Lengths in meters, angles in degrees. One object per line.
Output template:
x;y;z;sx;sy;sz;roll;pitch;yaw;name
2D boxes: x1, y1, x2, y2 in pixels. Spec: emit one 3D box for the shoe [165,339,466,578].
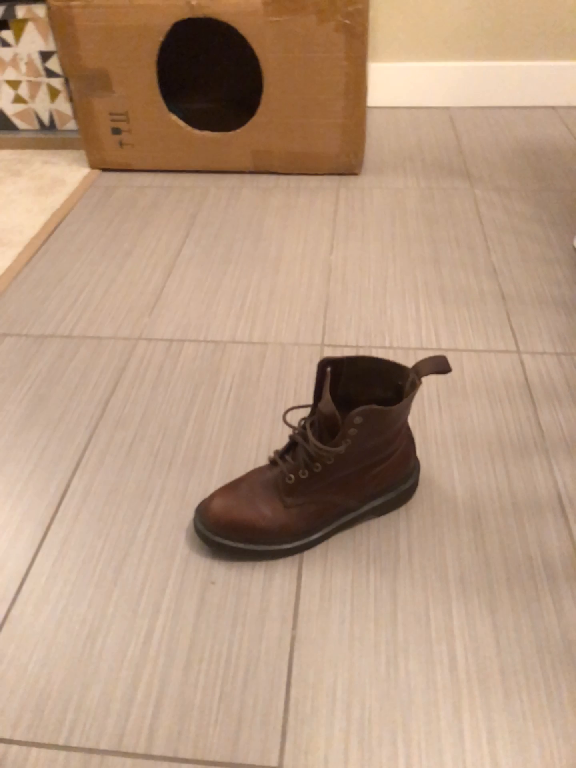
0.025;0.080;0.687;0.282;0.179;0.116;-10;40;-10;shoe
